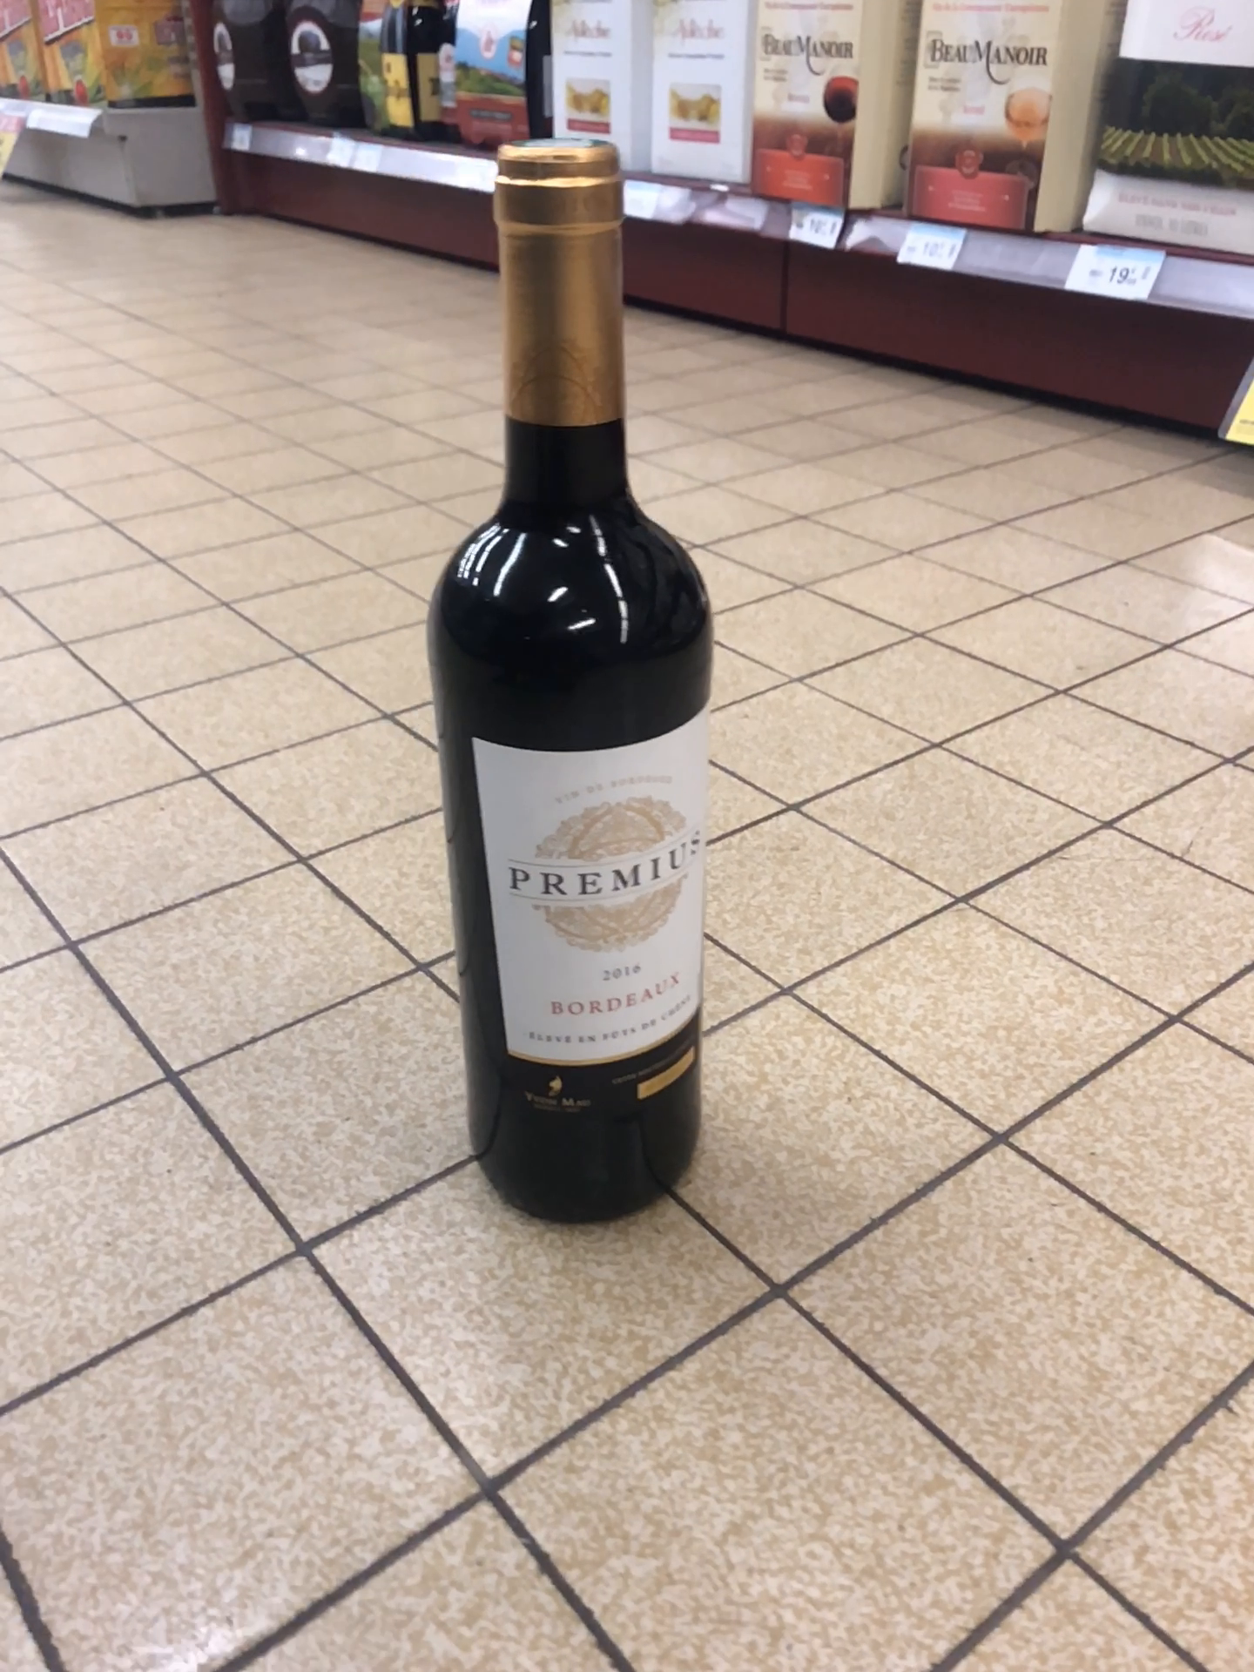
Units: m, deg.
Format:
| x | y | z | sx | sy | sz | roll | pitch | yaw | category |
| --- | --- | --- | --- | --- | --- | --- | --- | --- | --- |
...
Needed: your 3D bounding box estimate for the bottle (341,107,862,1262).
| x | y | z | sx | sy | sz | roll | pitch | yaw | category |
| --- | --- | --- | --- | --- | --- | --- | --- | --- | --- |
| -0.009 | -0.030 | 0.370 | 0.090 | 0.288 | 0.080 | -11 | 32 | -19 | bottle |
